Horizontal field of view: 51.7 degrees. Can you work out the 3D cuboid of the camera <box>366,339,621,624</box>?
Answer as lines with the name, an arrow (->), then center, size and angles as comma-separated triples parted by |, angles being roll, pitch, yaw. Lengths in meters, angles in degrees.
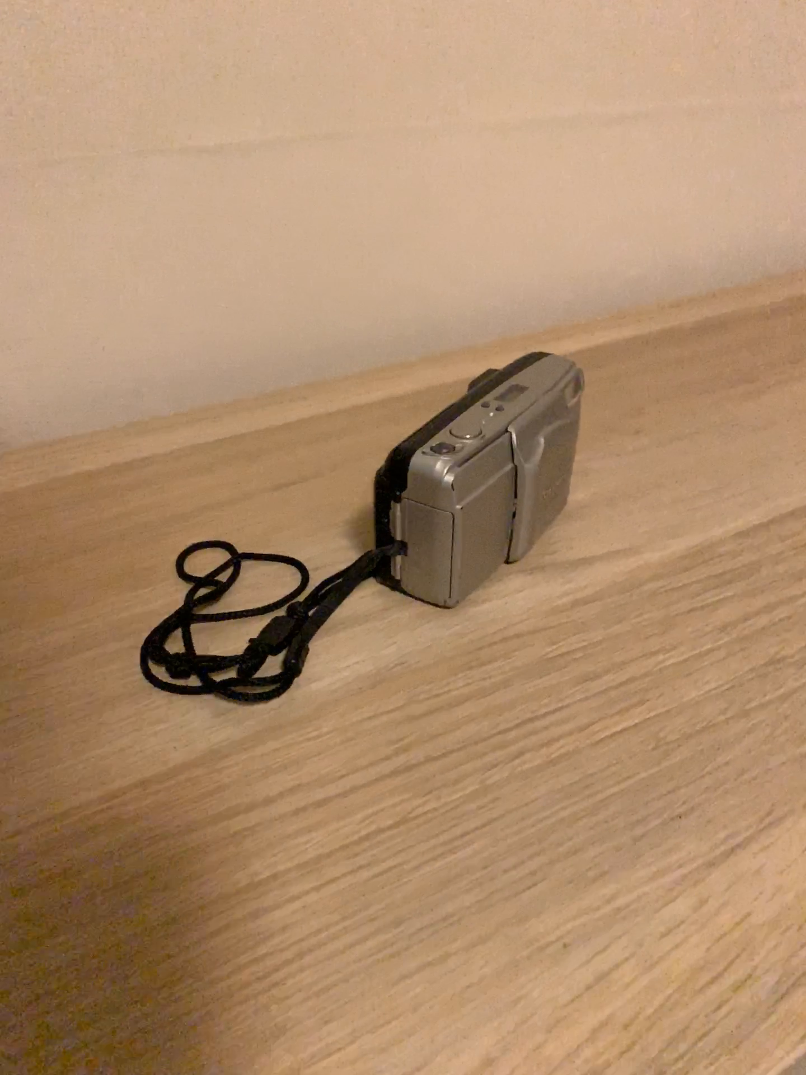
camera -> 0.040, -0.030, 0.340 | 0.046, 0.059, 0.127 | 19, 38, 27
